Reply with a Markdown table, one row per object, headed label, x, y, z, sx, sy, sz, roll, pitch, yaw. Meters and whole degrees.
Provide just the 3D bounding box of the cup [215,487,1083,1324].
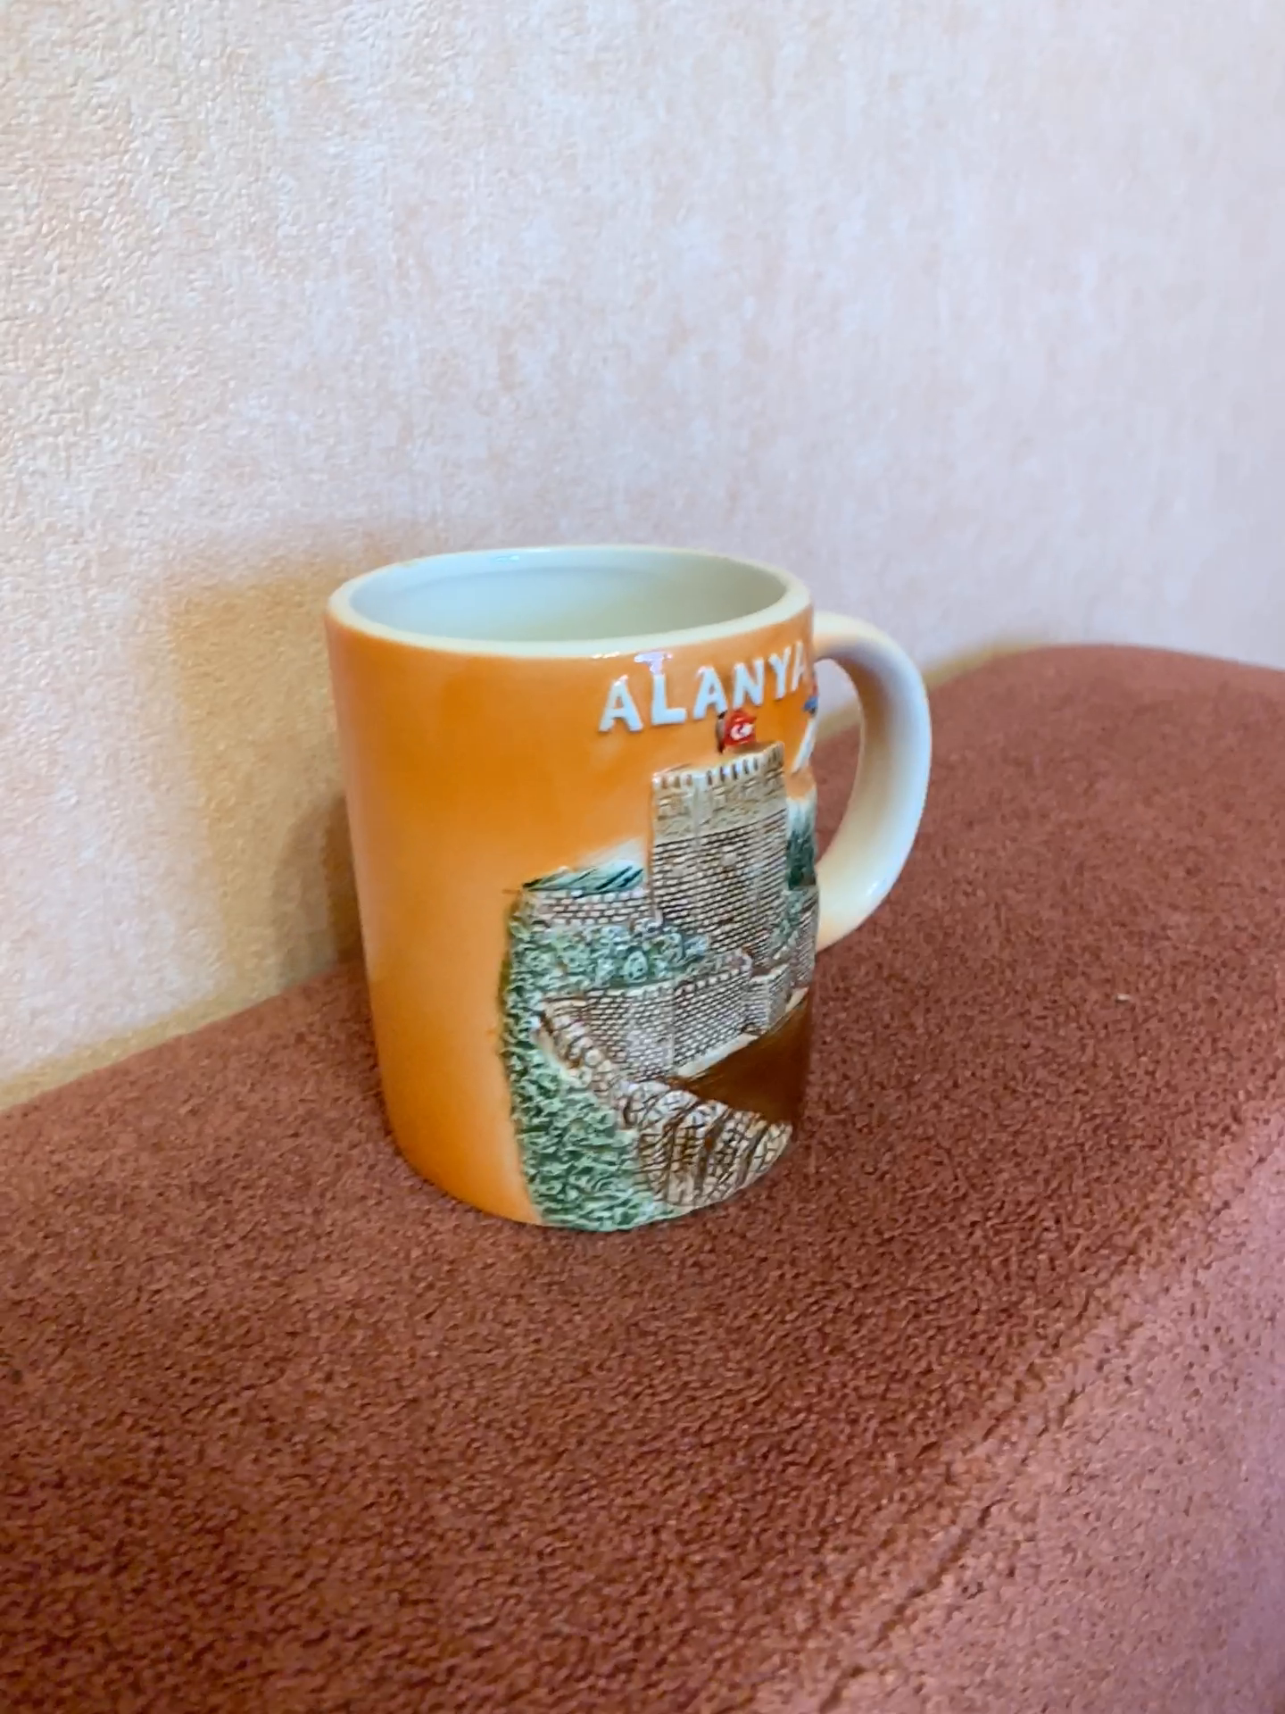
| label | x | y | z | sx | sy | sz | roll | pitch | yaw |
| --- | --- | --- | --- | --- | --- | --- | --- | --- | --- |
| cup | 0.003 | -0.005 | 0.249 | 0.120 | 0.098 | 0.088 | -21 | 32 | -36 |
